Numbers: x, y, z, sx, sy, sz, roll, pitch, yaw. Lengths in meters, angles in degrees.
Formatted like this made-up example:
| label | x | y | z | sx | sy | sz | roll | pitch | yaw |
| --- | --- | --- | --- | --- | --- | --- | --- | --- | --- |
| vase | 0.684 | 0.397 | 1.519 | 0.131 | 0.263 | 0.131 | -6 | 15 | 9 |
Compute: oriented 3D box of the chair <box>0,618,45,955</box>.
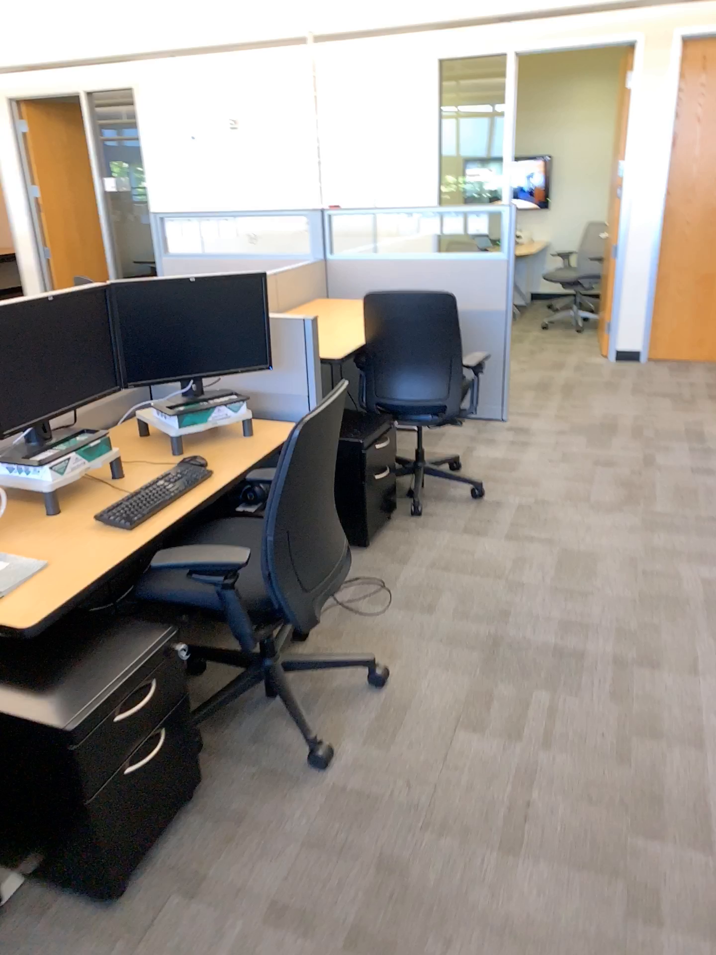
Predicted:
| label | x | y | z | sx | sy | sz | roll | pitch | yaw |
| --- | --- | --- | --- | --- | --- | --- | --- | --- | --- |
| chair | -0.843 | 0.763 | 0.764 | 0.581 | 0.995 | 0.522 | 6 | 24 | 20 |

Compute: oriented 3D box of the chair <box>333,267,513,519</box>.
| label | x | y | z | sx | sy | sz | roll | pitch | yaw |
| --- | --- | --- | --- | --- | --- | --- | --- | --- | --- |
| chair | 0.343 | -0.453 | 3.523 | 0.631 | 0.995 | 0.763 | 7 | 24 | 21 |

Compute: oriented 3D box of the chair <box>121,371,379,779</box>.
| label | x | y | z | sx | sy | sz | roll | pitch | yaw |
| --- | --- | --- | --- | --- | --- | --- | --- | --- | --- |
| chair | -0.261 | 0.253 | 2.158 | 0.461 | 0.995 | 0.542 | 7 | 24 | 21 |
